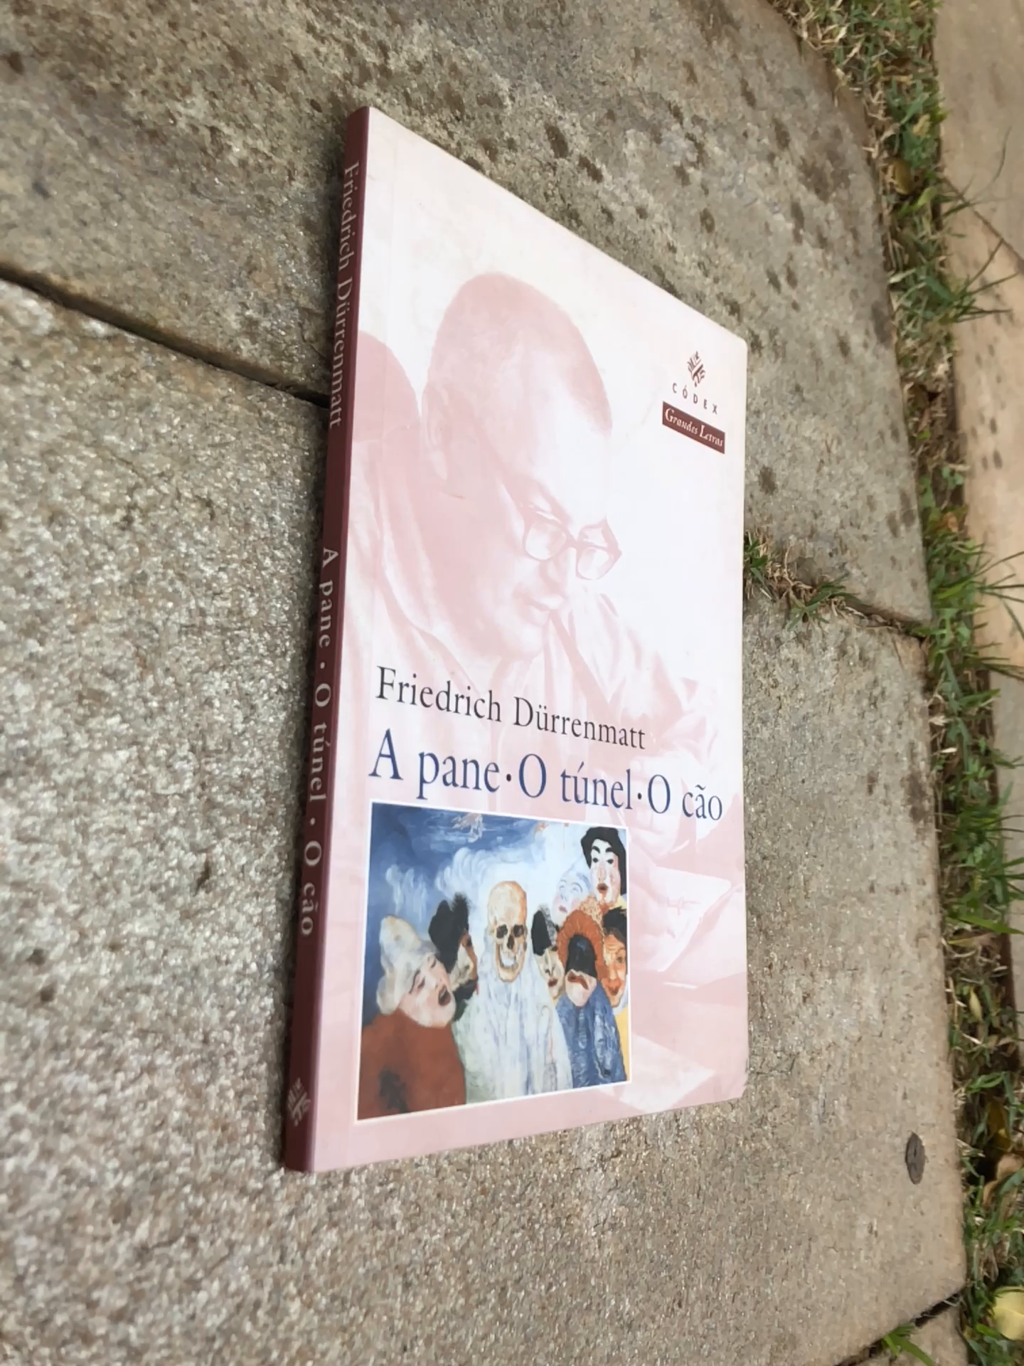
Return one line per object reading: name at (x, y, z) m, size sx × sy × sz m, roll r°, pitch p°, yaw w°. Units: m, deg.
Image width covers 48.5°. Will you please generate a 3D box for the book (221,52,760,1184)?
book at (0.010, -0.009, 0.260) m, size 0.139 × 0.020 × 0.210 m, roll 14°, pitch 75°, yaw -44°
